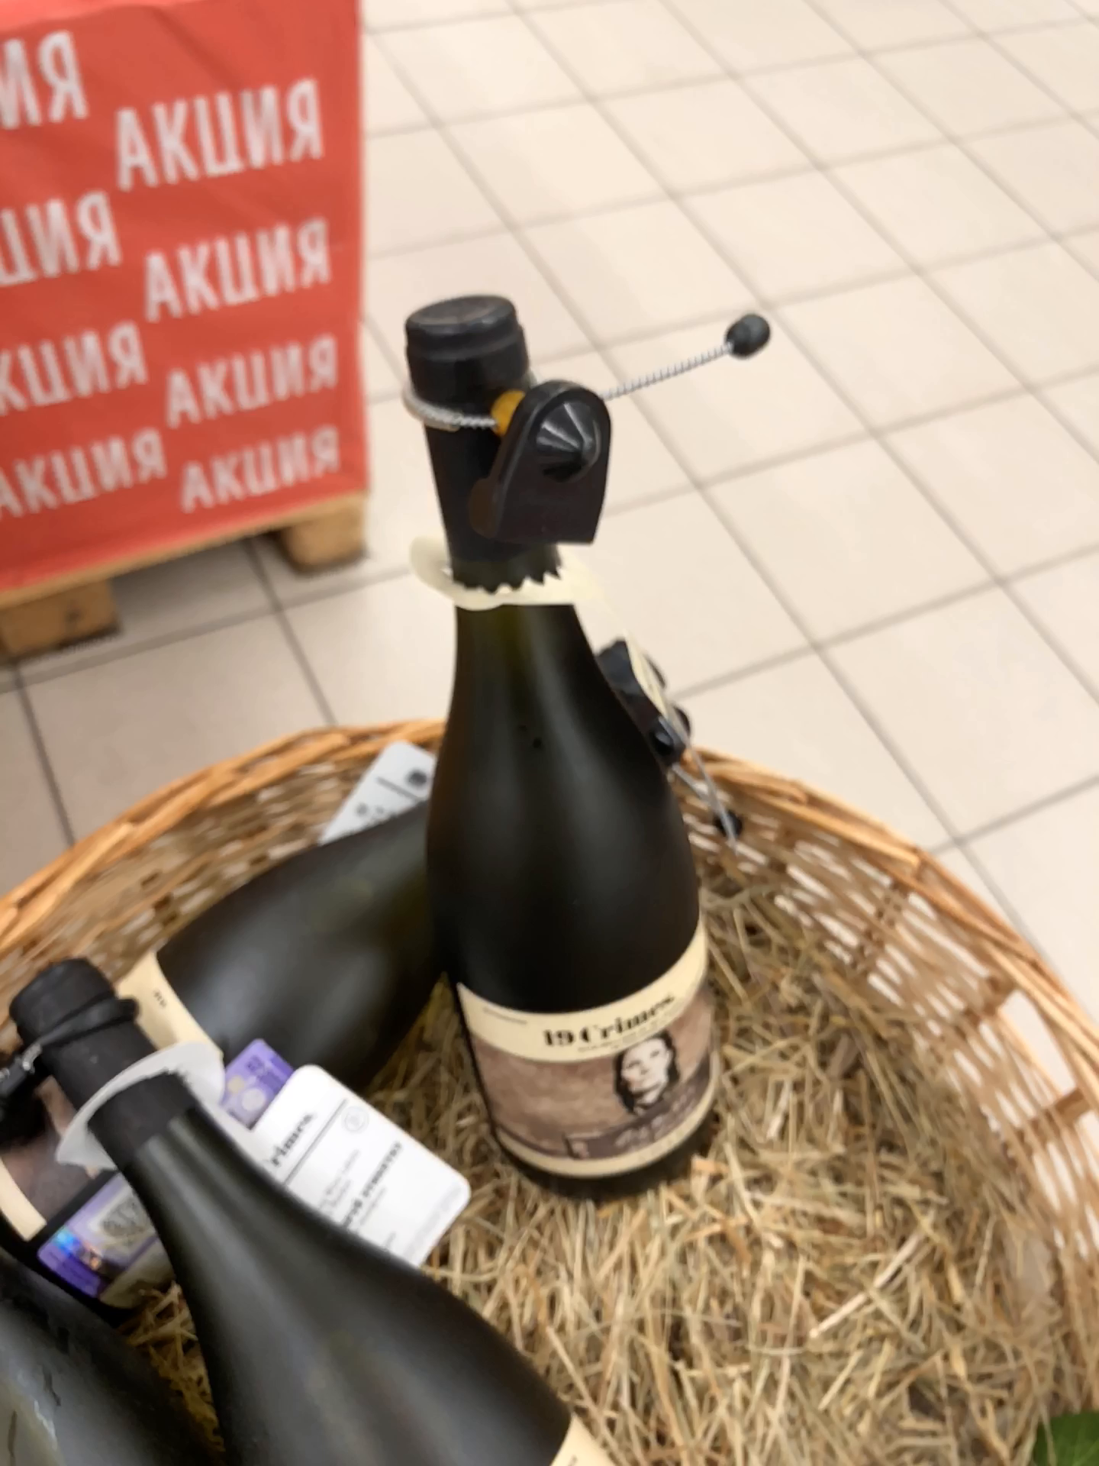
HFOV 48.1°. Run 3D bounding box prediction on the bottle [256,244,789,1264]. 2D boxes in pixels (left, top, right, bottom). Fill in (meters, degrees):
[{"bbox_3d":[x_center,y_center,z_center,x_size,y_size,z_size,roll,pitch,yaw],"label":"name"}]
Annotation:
[{"bbox_3d":[0.007,0.025,0.361,0.090,0.289,0.080,-26,41,-21],"label":"bottle"}]
